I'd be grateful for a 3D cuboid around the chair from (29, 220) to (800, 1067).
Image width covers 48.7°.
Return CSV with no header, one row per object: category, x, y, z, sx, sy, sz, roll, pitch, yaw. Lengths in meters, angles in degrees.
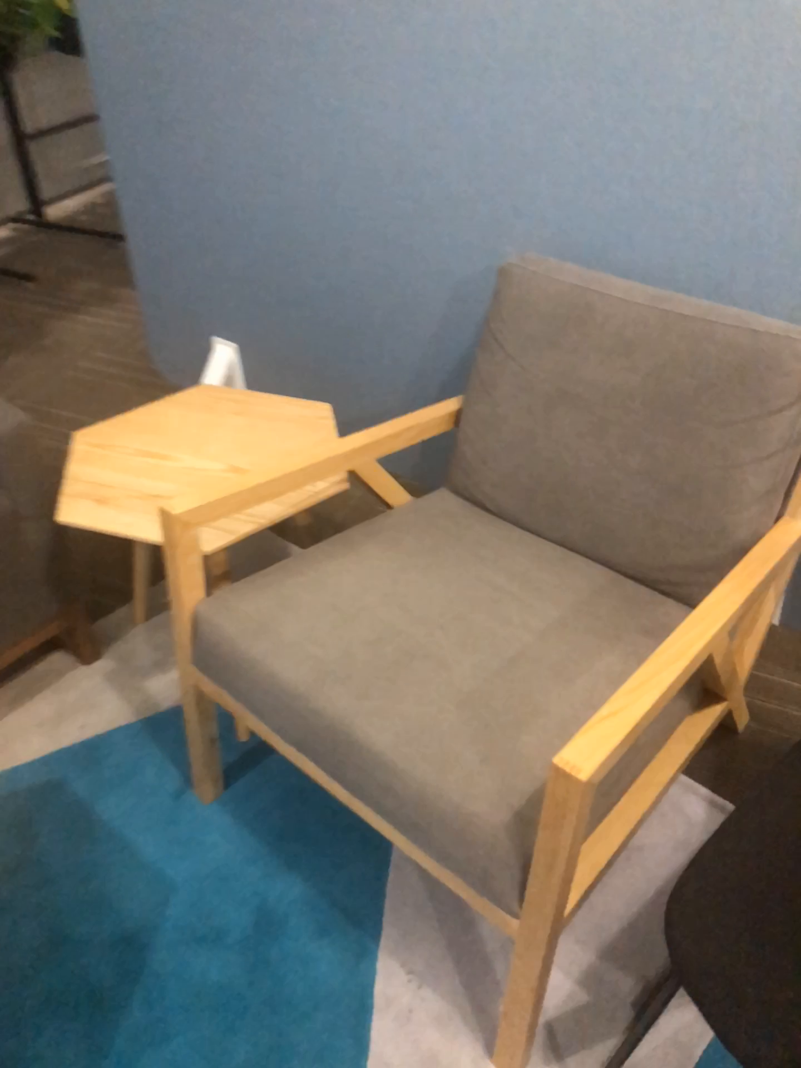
chair,0.130,0.102,1.291,0.711,0.743,0.846,28,47,33
